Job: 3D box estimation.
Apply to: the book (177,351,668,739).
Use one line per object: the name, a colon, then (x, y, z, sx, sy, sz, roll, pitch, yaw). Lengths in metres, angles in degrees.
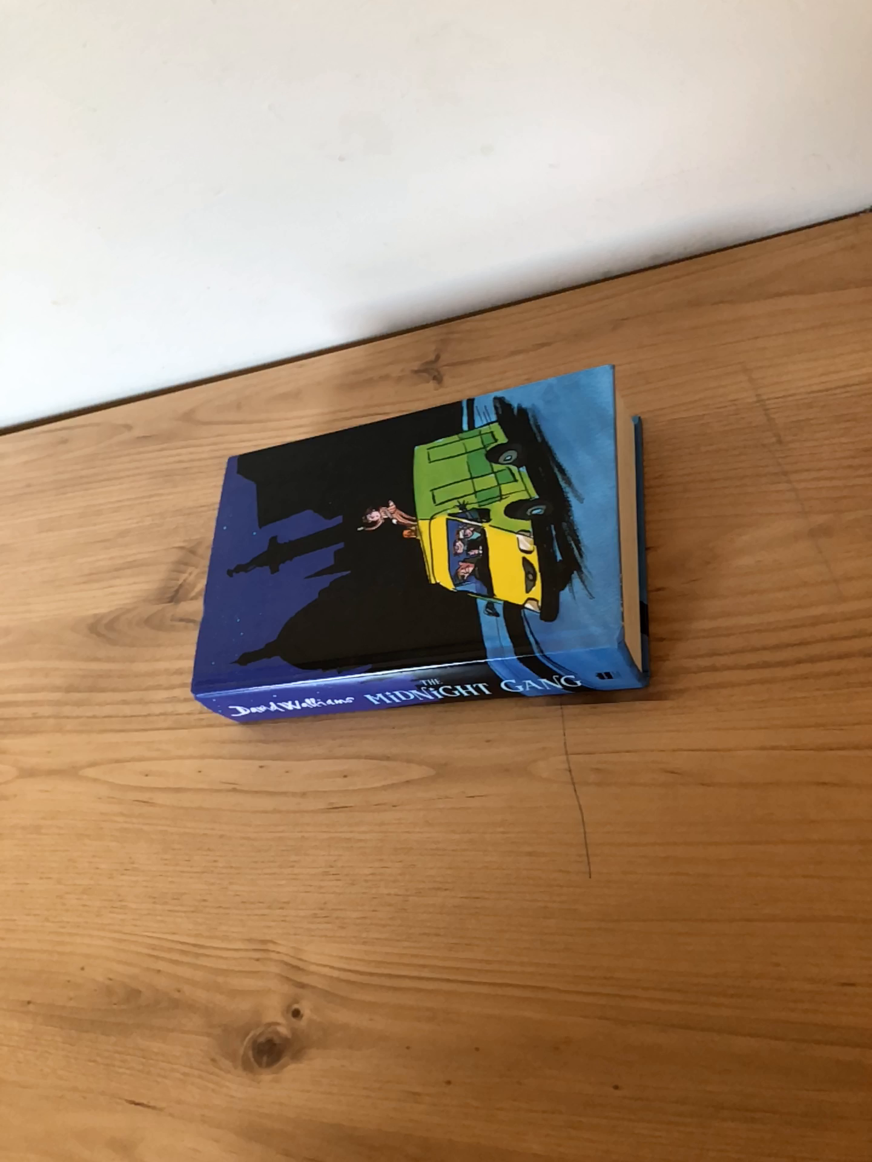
book: (-0.010, -0.010, 0.498, 0.237, 0.060, 0.153, -10, 63, 26)
